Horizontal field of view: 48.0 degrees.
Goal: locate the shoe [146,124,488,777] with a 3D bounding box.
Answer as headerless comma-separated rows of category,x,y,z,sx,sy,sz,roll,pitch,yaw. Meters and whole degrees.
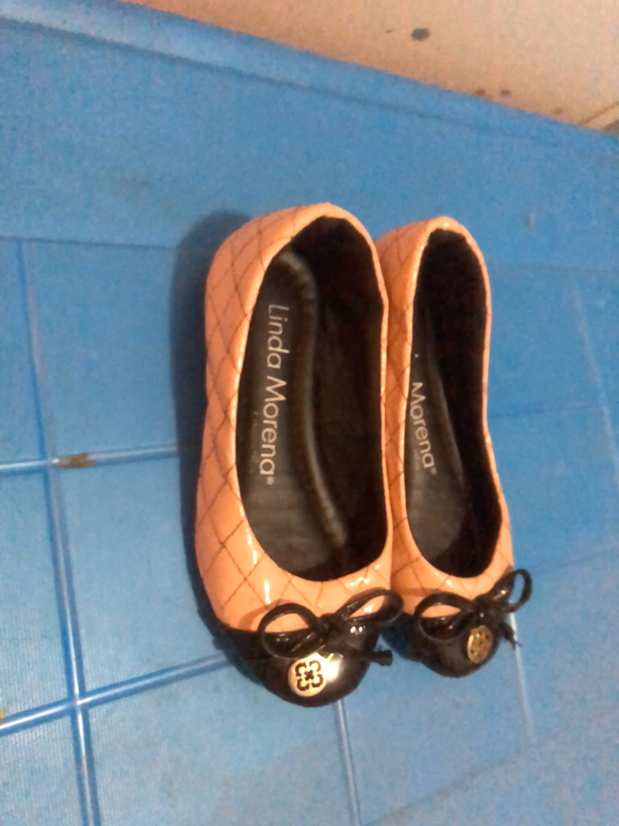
shoe,-0.002,0.011,0.254,0.070,0.080,0.190,-3,84,-34

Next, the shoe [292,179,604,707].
shoe,0.055,0.011,0.300,0.070,0.080,0.190,-5,85,-34
